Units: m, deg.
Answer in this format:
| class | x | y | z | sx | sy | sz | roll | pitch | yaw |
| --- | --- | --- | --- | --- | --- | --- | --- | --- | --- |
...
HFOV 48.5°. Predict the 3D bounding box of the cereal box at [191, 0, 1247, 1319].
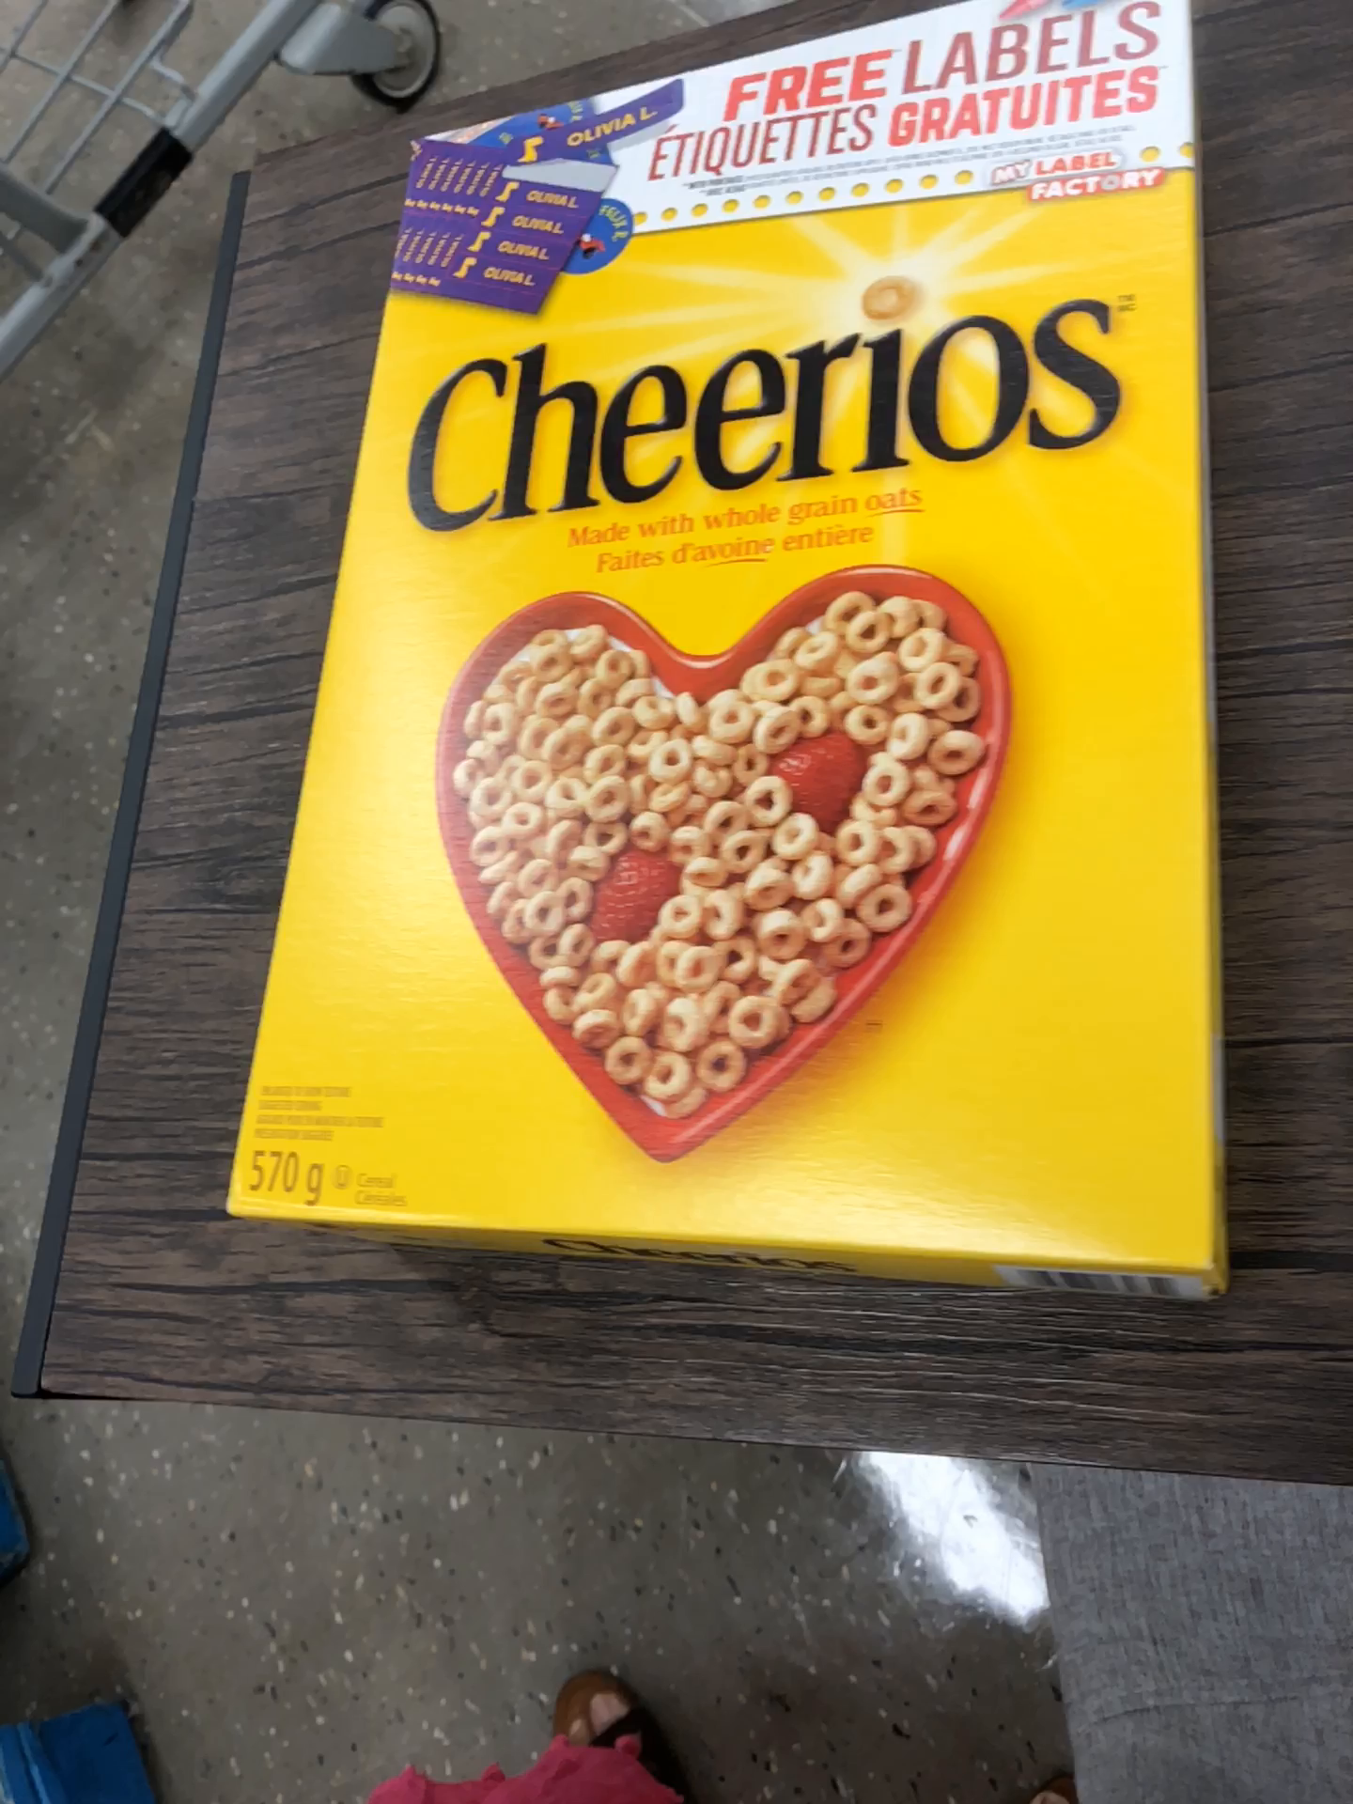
| class | x | y | z | sx | sy | sz | roll | pitch | yaw |
| --- | --- | --- | --- | --- | --- | --- | --- | --- | --- |
| cereal box | 0.023 | -0.070 | 0.418 | 0.241 | 0.100 | 0.340 | -2 | 72 | 21 |
